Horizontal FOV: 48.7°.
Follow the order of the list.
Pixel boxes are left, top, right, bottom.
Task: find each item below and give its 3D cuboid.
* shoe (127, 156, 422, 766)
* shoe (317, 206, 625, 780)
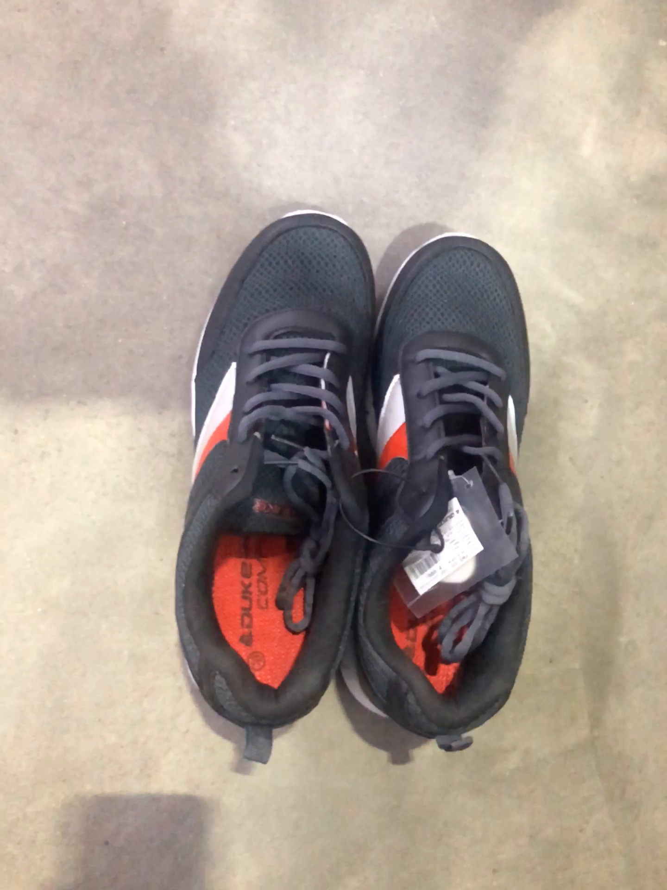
[{"bbox_3d":[-0.031,0.010,0.387,0.110,0.100,0.270,6,85,-9],"label":"shoe"},{"bbox_3d":[0.072,0.025,0.414,0.110,0.100,0.270,9,84,-9],"label":"shoe"}]
